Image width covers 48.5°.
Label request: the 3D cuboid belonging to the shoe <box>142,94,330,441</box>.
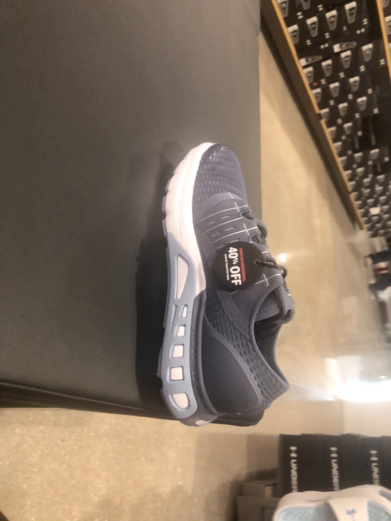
[{"bbox_3d":[0.041,0.012,0.368,0.121,0.097,0.254,39,47,-53],"label":"shoe"}]
